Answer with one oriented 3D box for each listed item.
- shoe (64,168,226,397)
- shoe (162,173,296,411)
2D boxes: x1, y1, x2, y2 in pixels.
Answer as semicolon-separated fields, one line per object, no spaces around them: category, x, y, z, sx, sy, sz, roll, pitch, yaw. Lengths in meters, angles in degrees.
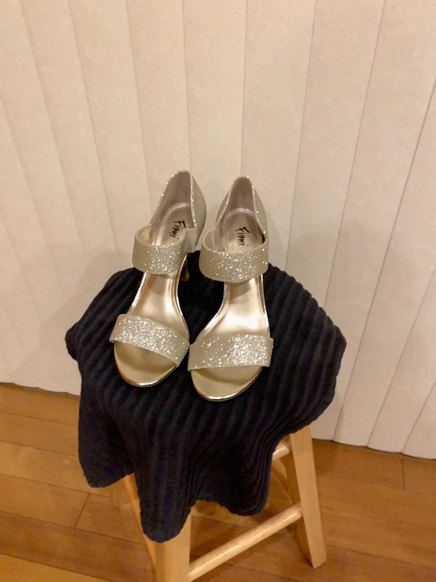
shoe;-0.061;-0.023;0.510;0.095;0.129;0.236;8;41;10
shoe;0.023;-0.013;0.497;0.090;0.129;0.238;8;41;10
